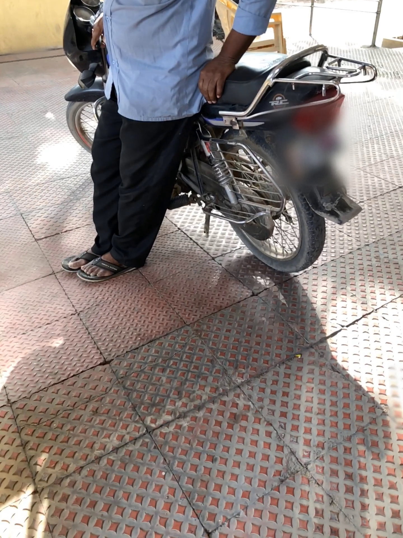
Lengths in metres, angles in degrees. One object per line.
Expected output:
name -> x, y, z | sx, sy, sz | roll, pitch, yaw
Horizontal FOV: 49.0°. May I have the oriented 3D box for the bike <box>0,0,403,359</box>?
bike -> -0.062, -0.621, 1.684 | 0.821, 1.062, 1.301 | -25, 44, -28
